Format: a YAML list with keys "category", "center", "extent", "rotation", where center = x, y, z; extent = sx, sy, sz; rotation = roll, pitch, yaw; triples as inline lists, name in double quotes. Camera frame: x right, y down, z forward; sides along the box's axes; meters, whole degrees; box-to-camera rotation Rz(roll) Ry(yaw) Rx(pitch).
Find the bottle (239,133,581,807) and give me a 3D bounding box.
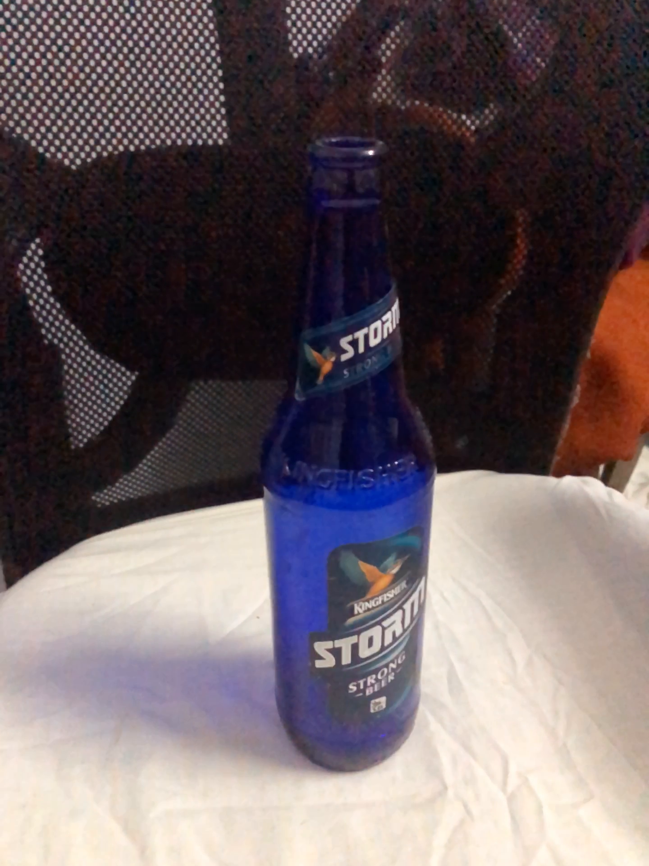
- category: "bottle"
  center: [0.018, 0.028, 0.282]
  extent: [0.080, 0.259, 0.070]
  rotation: [-8, 33, -16]
